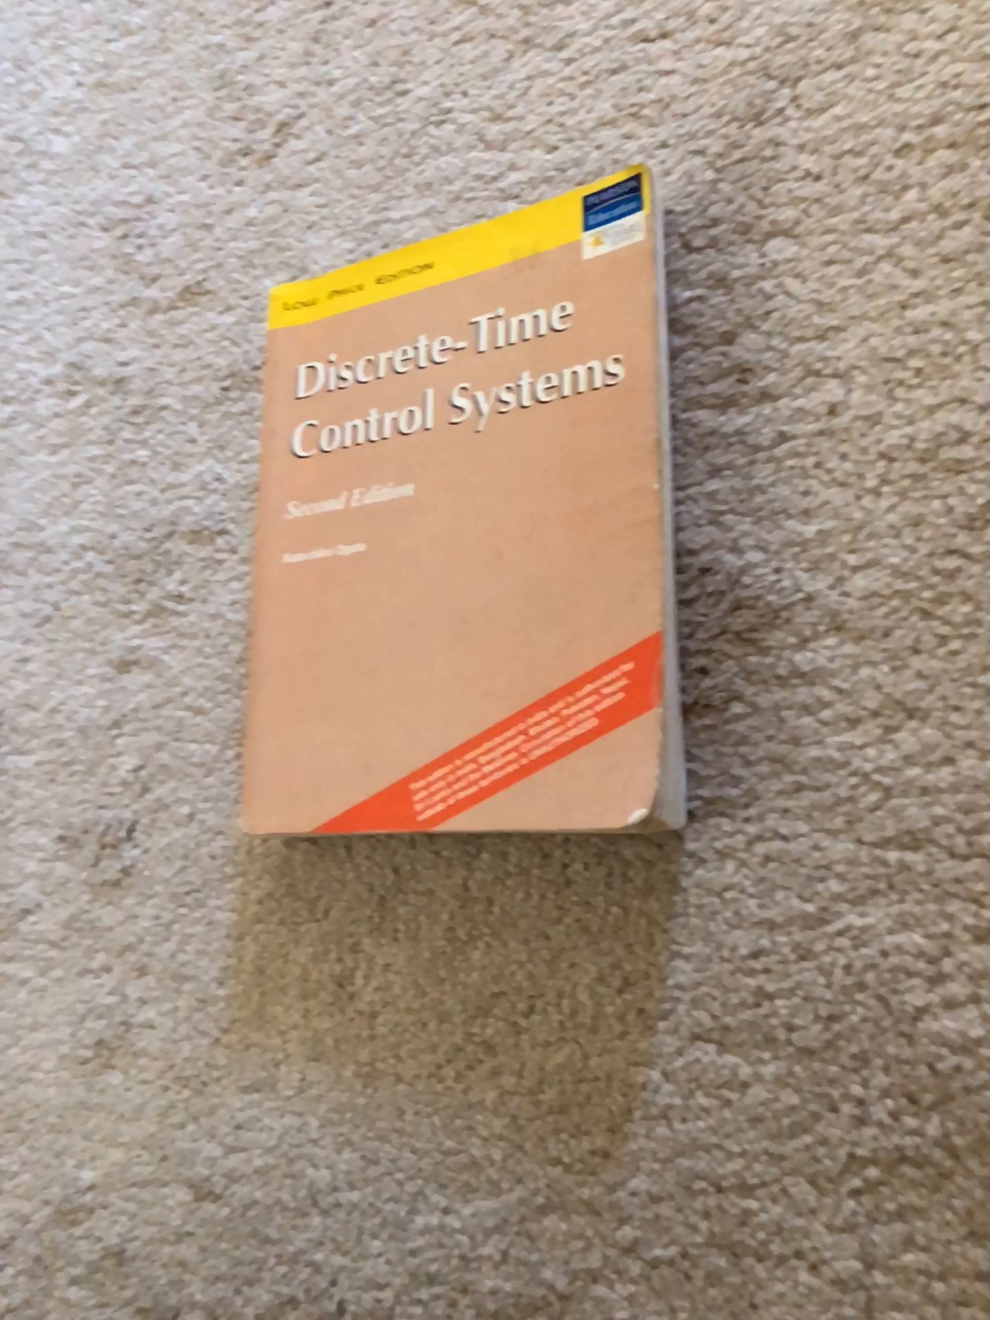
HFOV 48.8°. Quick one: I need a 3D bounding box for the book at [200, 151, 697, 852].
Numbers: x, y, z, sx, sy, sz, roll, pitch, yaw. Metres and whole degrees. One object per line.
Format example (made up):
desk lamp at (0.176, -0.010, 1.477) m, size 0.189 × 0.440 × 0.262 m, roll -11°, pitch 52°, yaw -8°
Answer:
book at (-0.023, -0.049, 0.415) m, size 0.186 × 0.035 × 0.238 m, roll -7°, pitch 76°, yaw 28°
